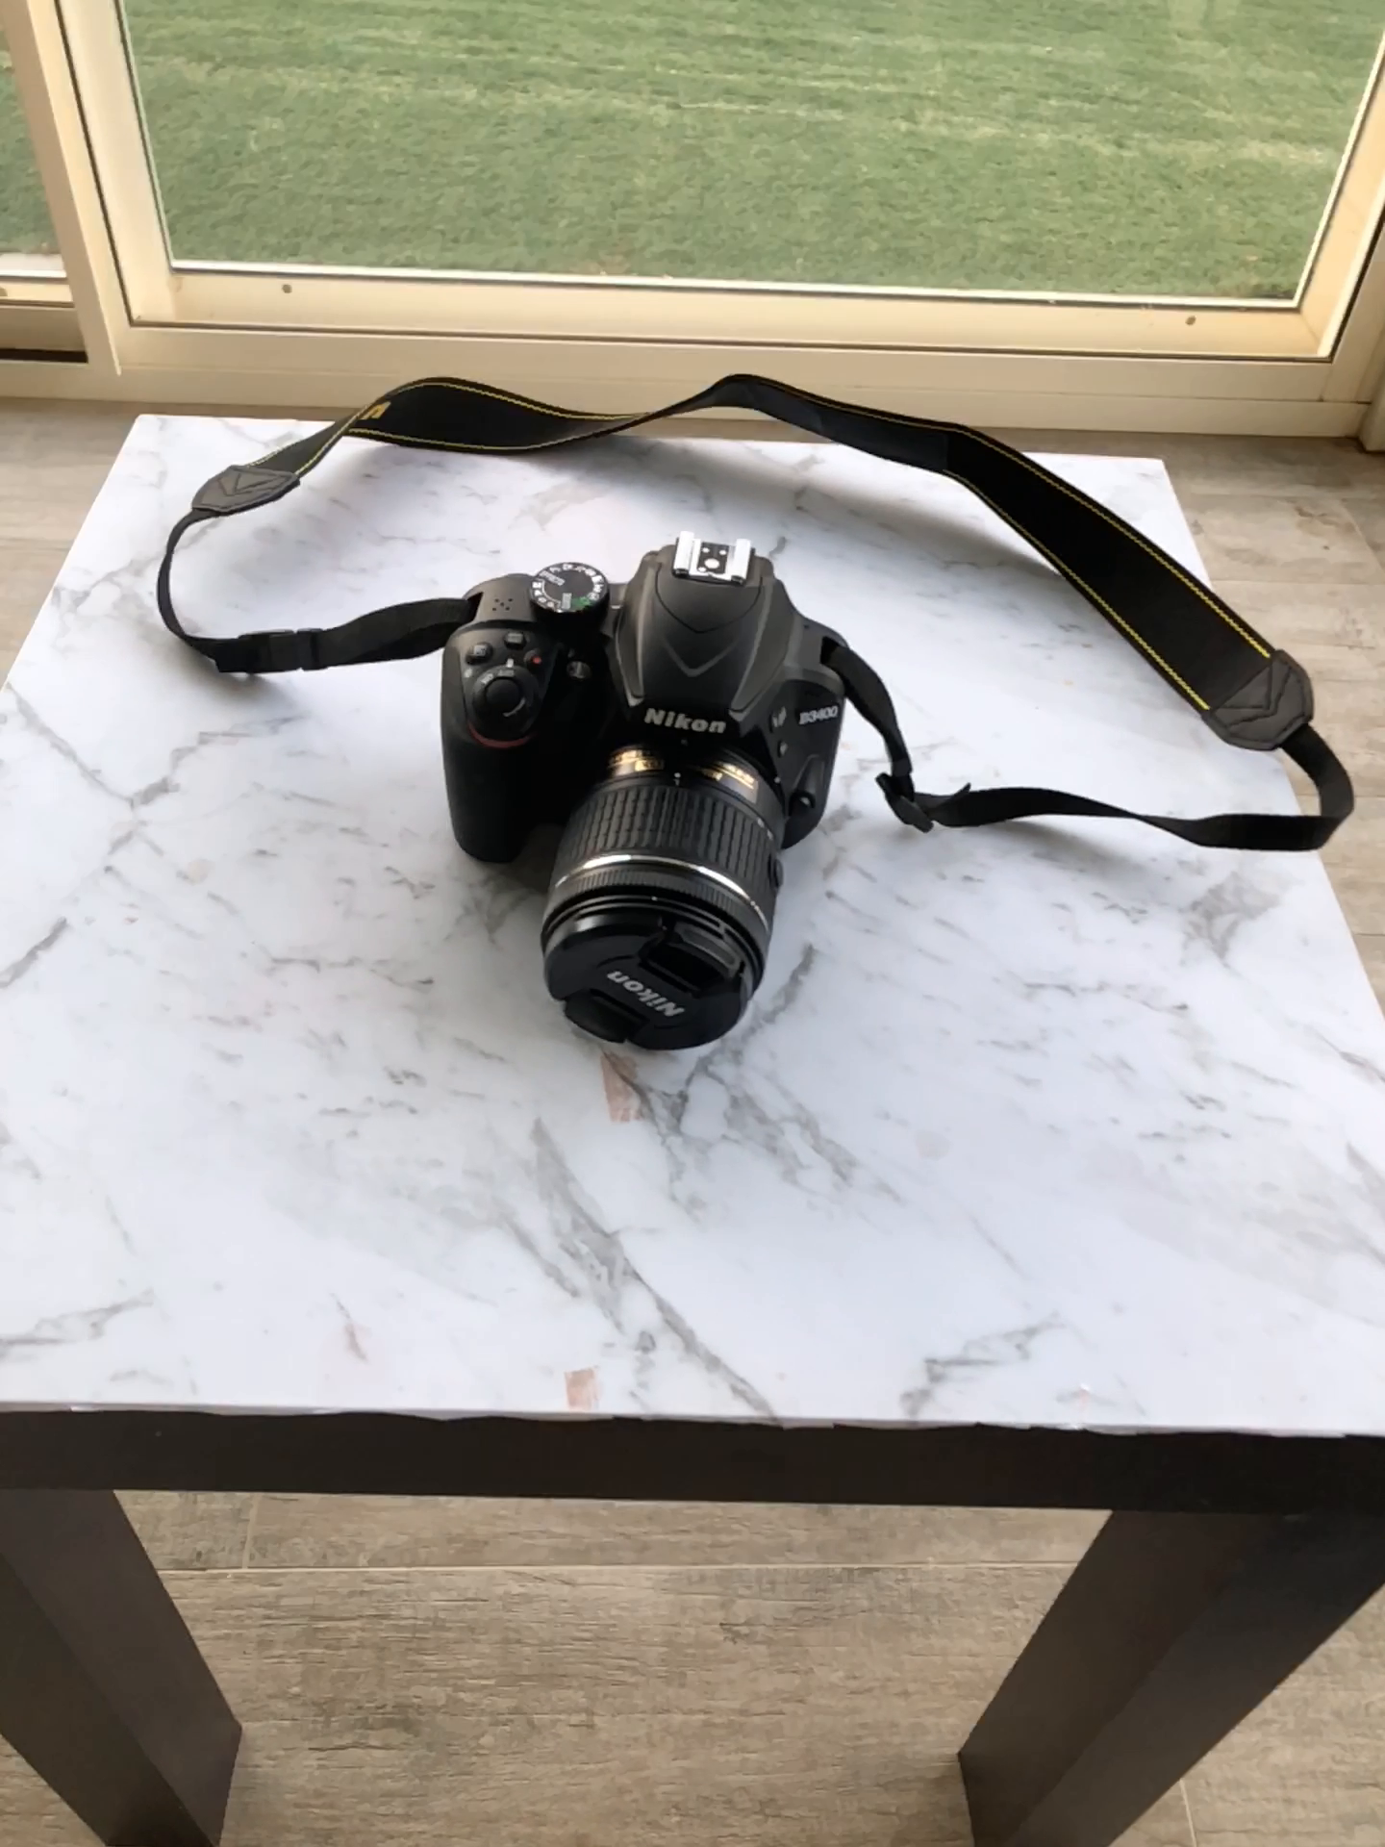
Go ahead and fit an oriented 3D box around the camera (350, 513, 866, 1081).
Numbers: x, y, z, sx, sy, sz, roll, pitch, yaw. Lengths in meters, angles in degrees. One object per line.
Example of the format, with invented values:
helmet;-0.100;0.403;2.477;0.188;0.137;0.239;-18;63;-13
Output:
camera;-0.017;-0.039;0.434;0.121;0.076;0.138;5;50;1
